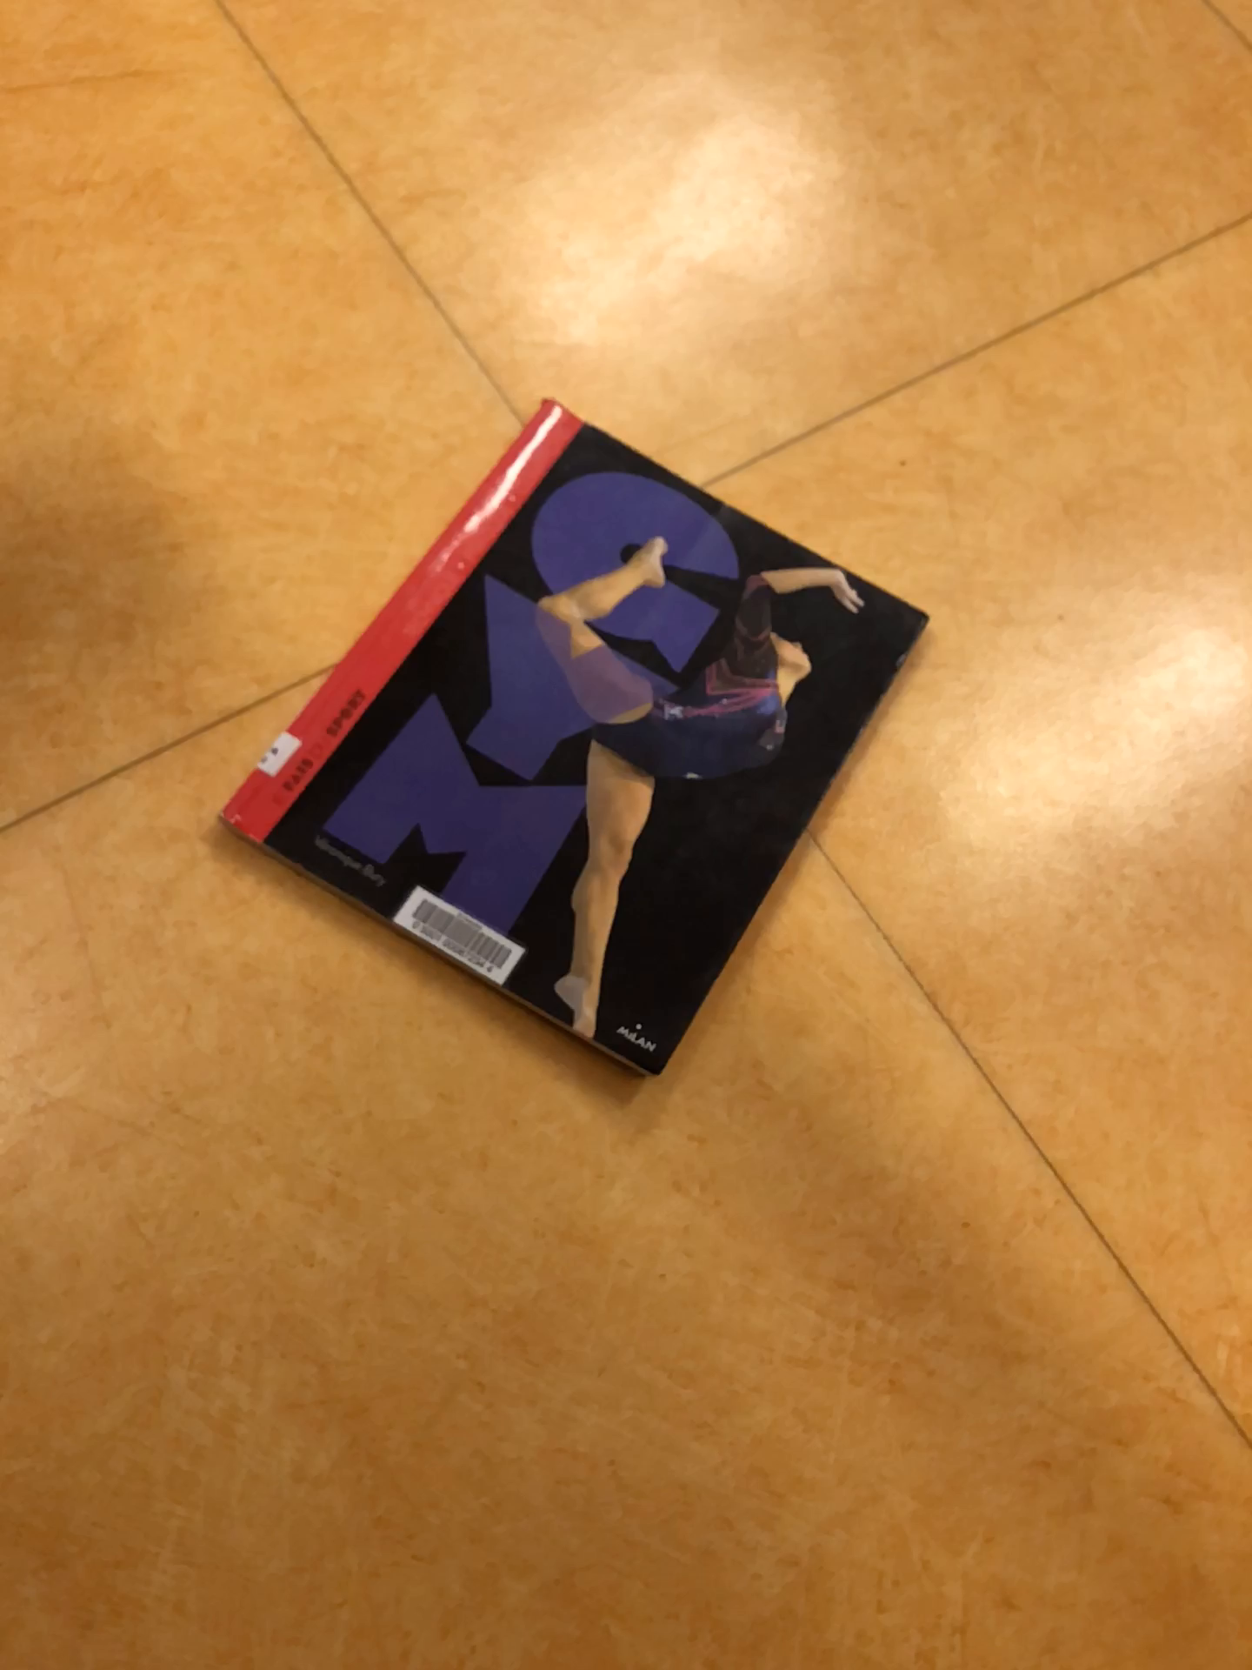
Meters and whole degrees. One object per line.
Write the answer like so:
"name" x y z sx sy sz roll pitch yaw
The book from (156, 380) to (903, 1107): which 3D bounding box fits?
"book" -0.029 -0.046 0.547 0.193 0.030 0.234 31 68 4
